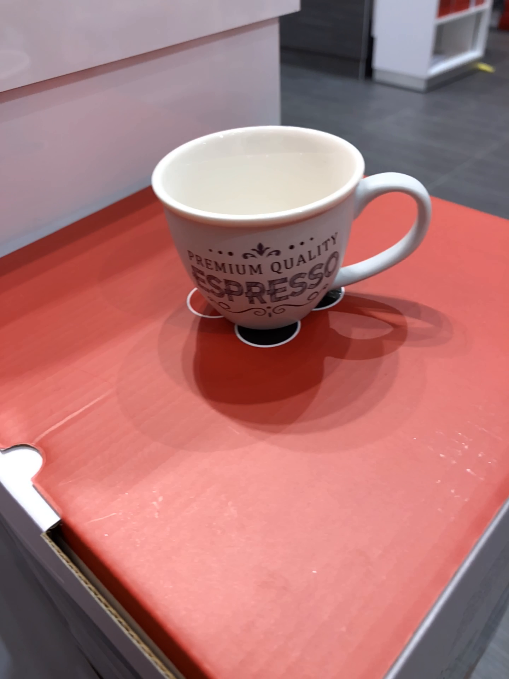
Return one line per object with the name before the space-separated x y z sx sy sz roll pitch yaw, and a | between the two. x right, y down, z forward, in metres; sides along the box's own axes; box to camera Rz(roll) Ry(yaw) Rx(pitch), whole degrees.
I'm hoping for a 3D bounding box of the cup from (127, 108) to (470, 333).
cup | 0.013 -0.043 0.195 0.090 0.040 0.080 -1 39 4
